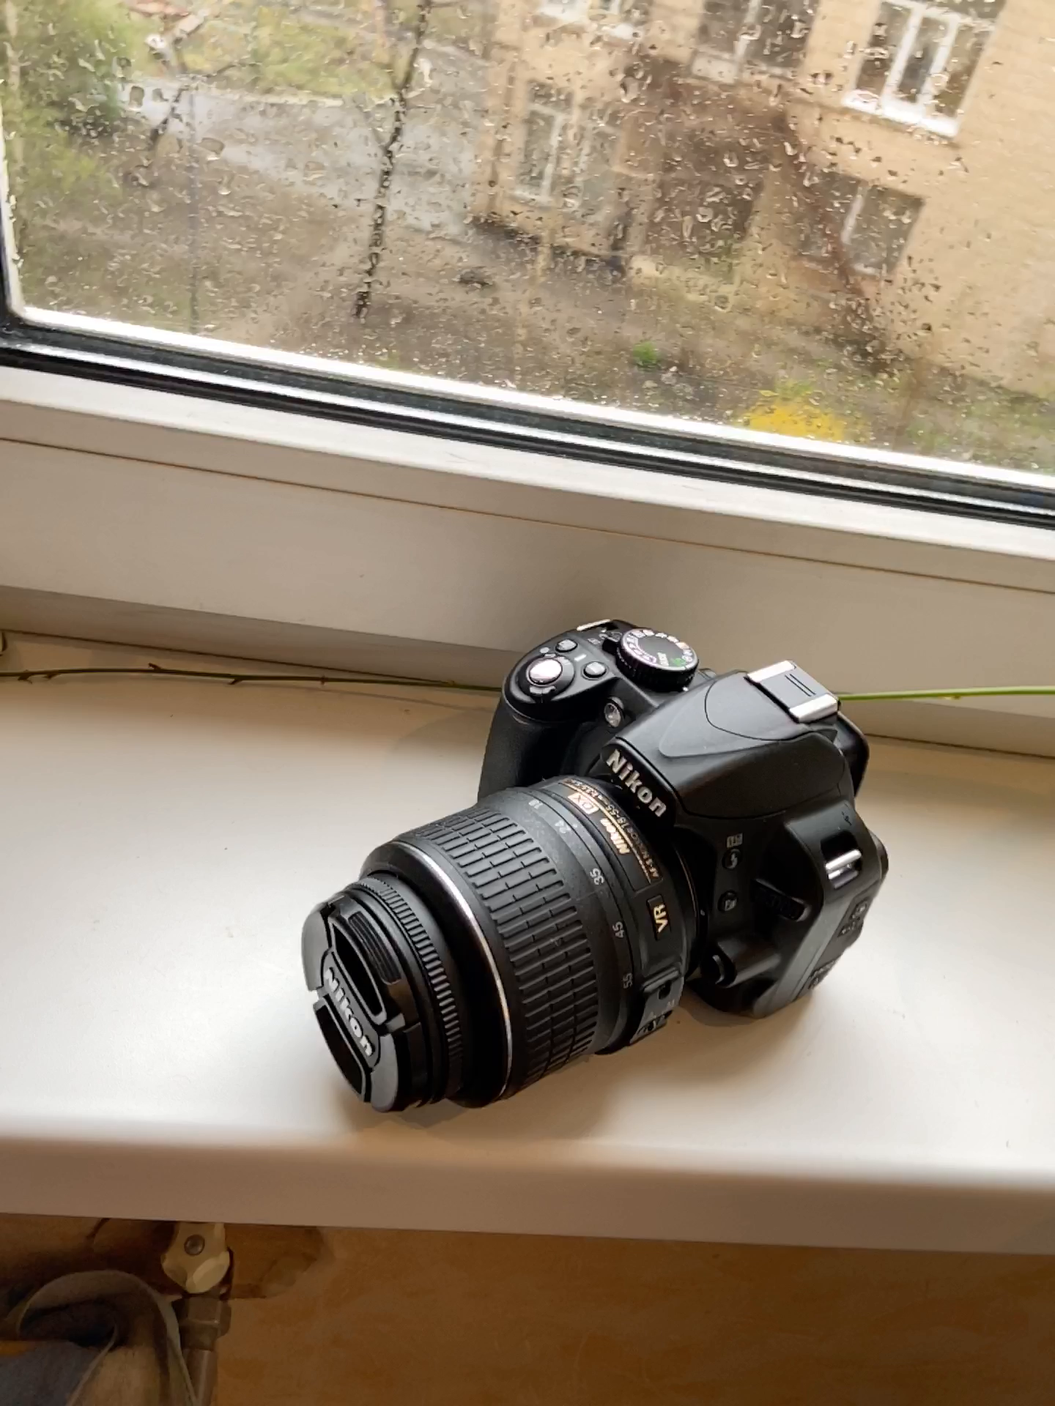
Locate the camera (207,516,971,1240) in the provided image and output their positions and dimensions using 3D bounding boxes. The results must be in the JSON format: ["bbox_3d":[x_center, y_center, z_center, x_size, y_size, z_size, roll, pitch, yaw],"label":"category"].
[{"bbox_3d":[0.011,0.033,0.304,0.155,0.091,0.125,-20,51,-34],"label":"camera"}]
